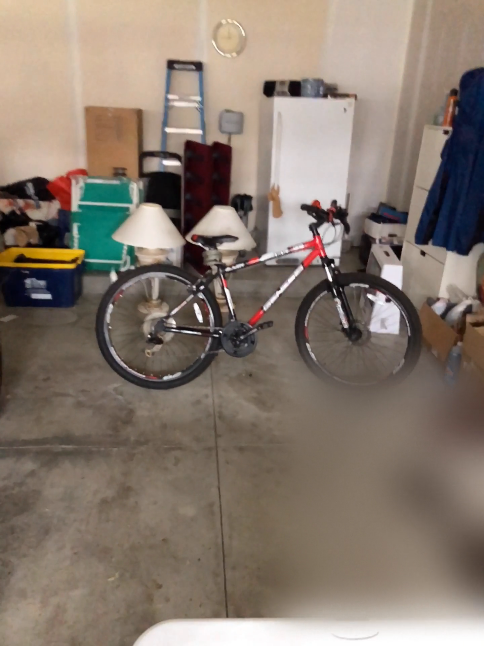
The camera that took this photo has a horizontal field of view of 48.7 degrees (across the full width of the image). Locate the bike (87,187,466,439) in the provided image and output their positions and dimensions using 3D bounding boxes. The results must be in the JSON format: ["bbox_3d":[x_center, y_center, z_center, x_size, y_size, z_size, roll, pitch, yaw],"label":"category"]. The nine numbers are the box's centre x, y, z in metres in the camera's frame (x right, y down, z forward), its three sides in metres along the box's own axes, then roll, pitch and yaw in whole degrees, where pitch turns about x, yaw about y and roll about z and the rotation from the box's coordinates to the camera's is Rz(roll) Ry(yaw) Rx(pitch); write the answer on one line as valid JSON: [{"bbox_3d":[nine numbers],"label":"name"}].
[{"bbox_3d":[0.071,-0.091,2.818,1.668,1.054,0.591,4,21,3],"label":"bike"}]
